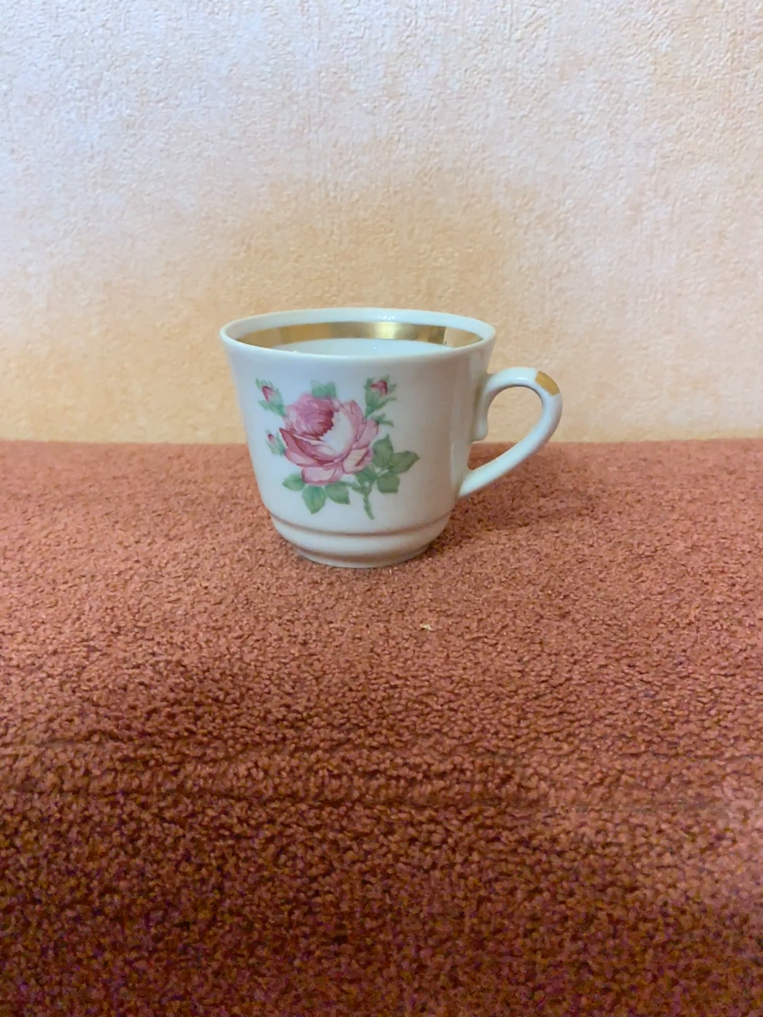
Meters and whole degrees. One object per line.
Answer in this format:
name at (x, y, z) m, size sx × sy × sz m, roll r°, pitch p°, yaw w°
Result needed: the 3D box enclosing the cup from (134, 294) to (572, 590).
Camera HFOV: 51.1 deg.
cup at (-0.001, -0.022, 0.193) m, size 0.086 × 0.047 × 0.067 m, roll 5°, pitch 25°, yaw 14°
